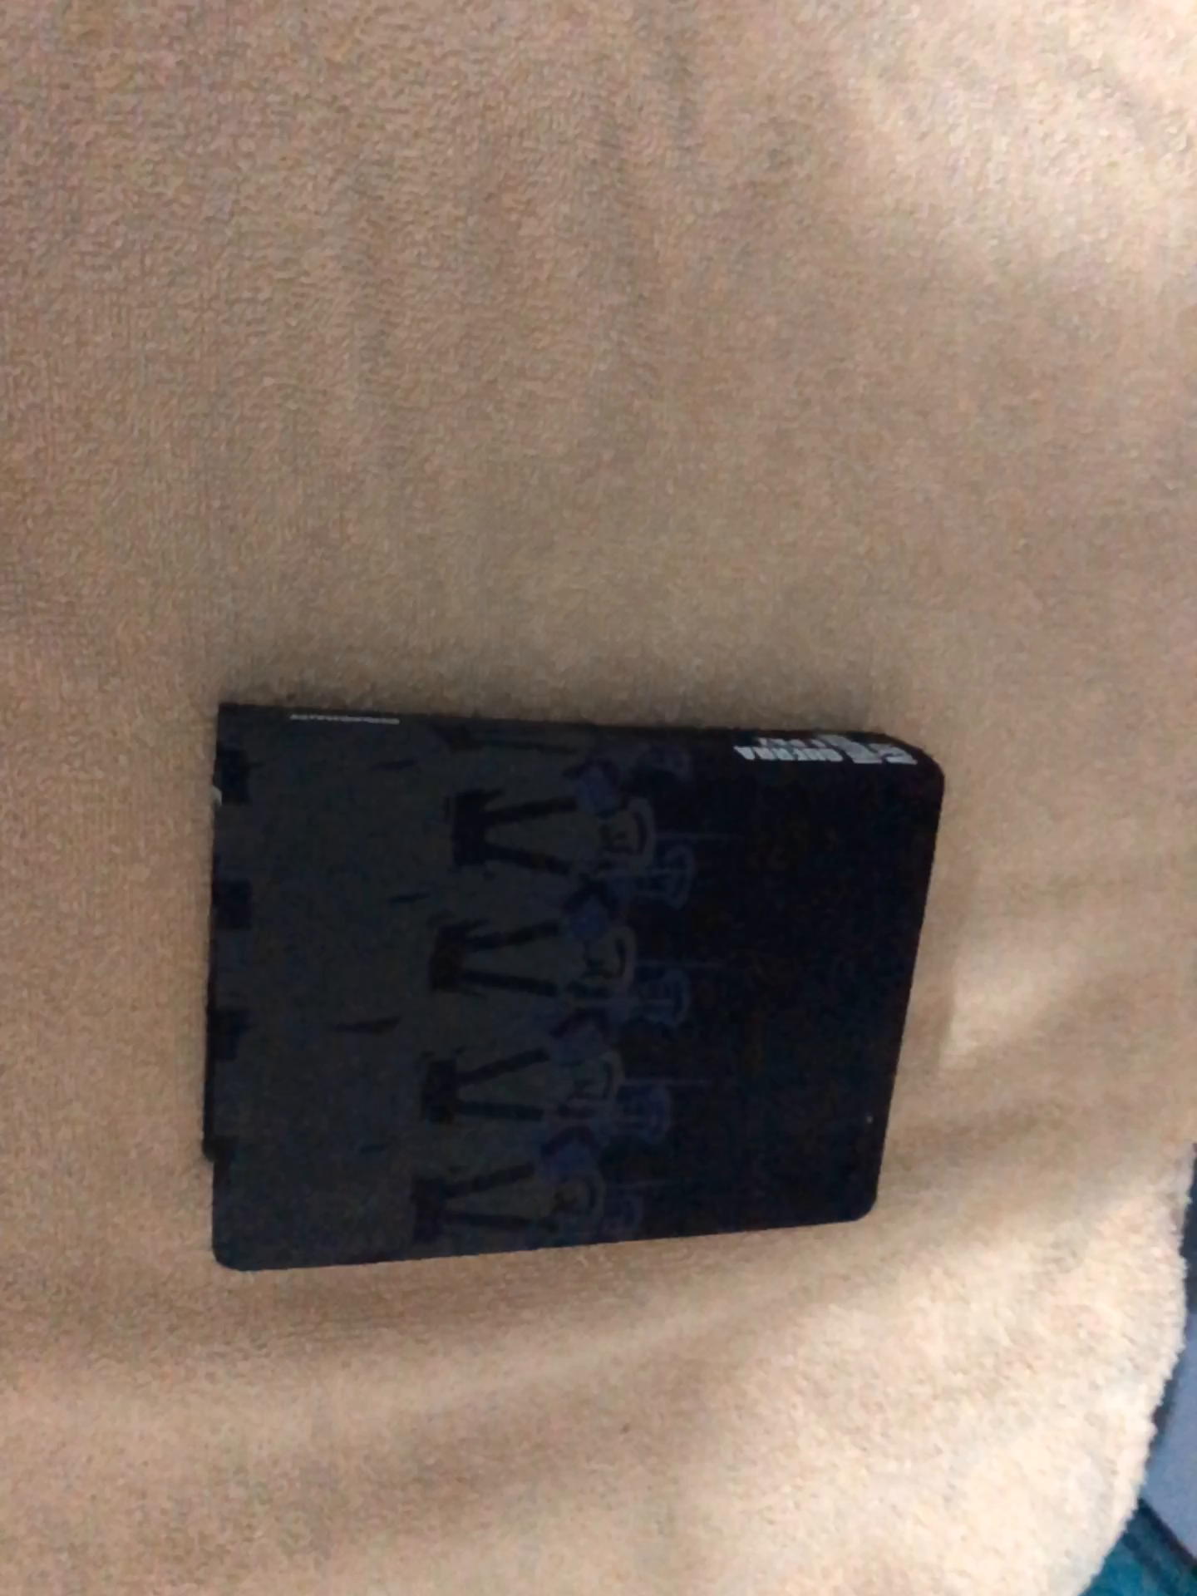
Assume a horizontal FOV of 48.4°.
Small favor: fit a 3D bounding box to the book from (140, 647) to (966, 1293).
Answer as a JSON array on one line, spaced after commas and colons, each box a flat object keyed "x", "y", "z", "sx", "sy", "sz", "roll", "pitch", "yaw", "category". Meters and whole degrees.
[{"x": -0.014, "y": 0.040, "z": 0.338, "sx": 0.190, "sy": 0.050, "sz": 0.140, "roll": 1, "pitch": 105, "yaw": -18, "category": "book"}]
